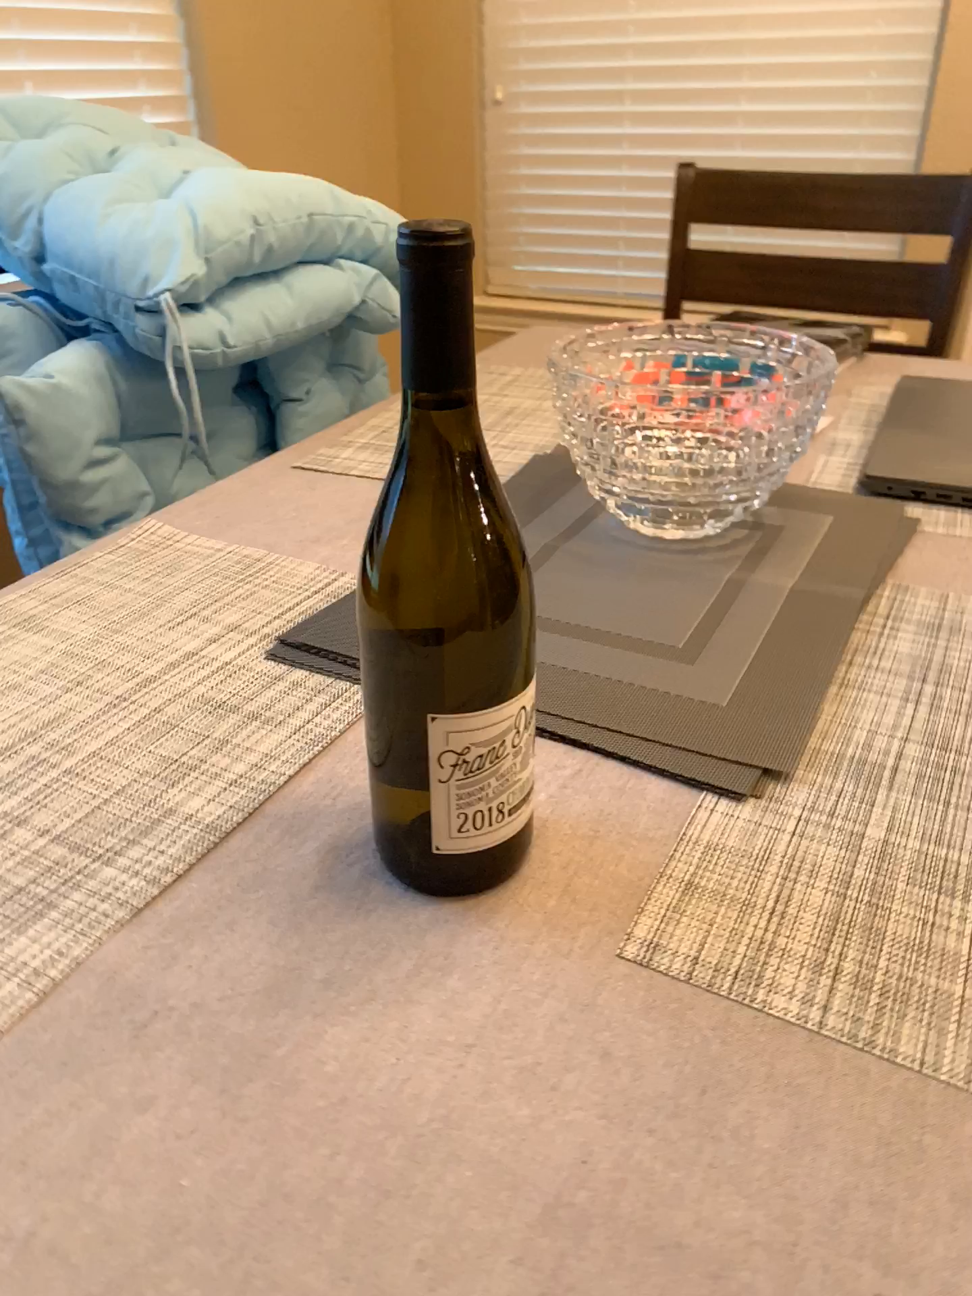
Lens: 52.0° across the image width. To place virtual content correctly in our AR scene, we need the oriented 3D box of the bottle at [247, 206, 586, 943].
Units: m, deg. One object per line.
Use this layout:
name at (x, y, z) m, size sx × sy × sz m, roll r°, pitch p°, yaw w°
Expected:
bottle at (-0.022, -0.025, 0.425) m, size 0.080 × 0.288 × 0.090 m, roll 24°, pitch 38°, yaw 37°
